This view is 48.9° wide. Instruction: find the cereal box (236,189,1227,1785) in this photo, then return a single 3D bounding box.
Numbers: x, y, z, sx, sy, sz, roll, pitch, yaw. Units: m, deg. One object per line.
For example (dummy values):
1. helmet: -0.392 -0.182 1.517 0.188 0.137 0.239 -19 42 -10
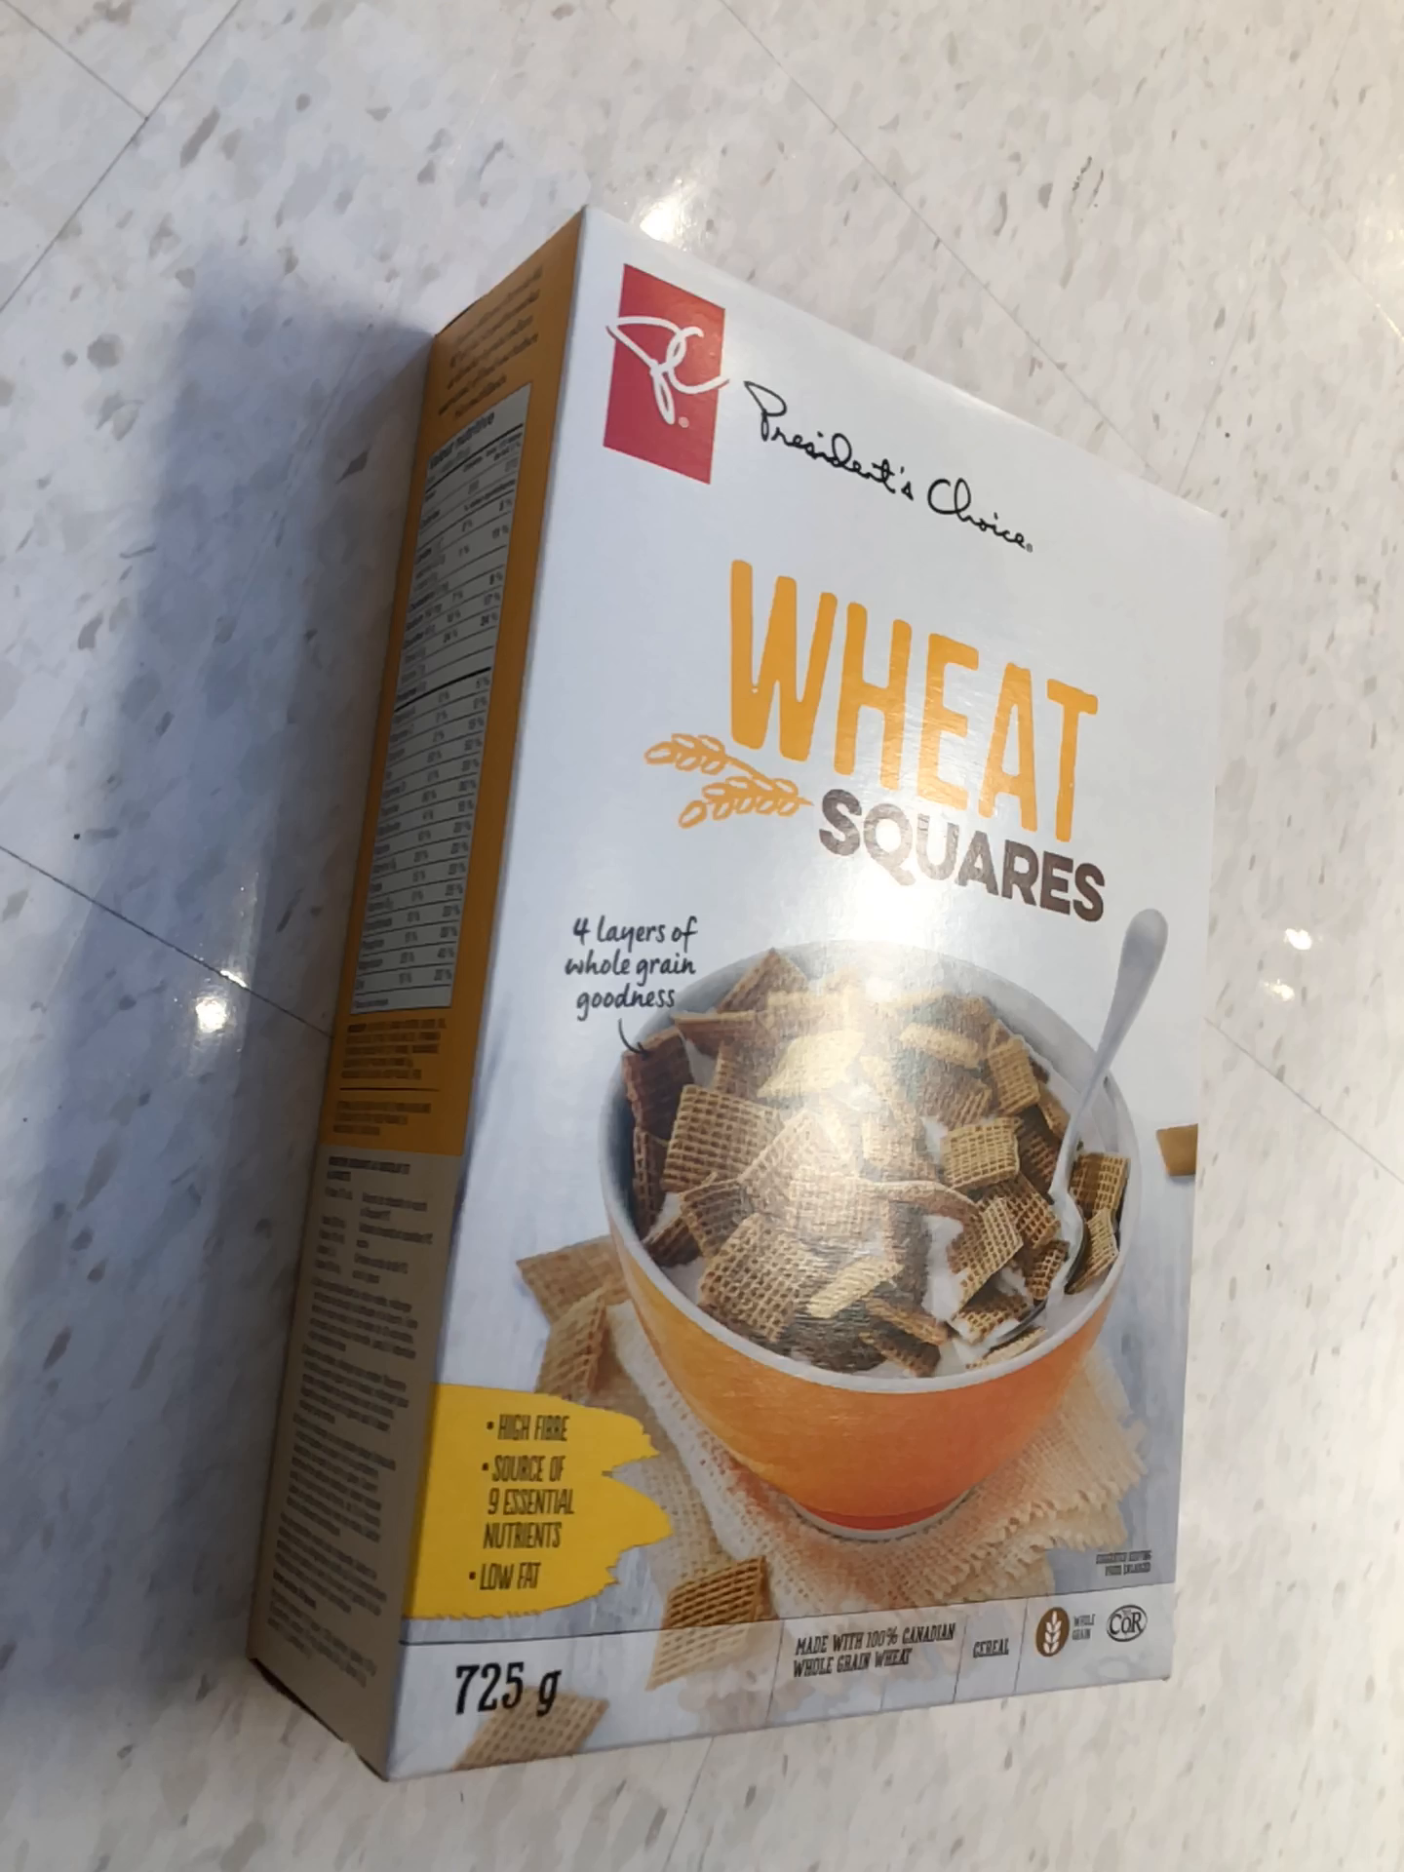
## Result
1. cereal box: 0.023 0.017 0.365 0.200 0.080 0.290 12 78 -34
